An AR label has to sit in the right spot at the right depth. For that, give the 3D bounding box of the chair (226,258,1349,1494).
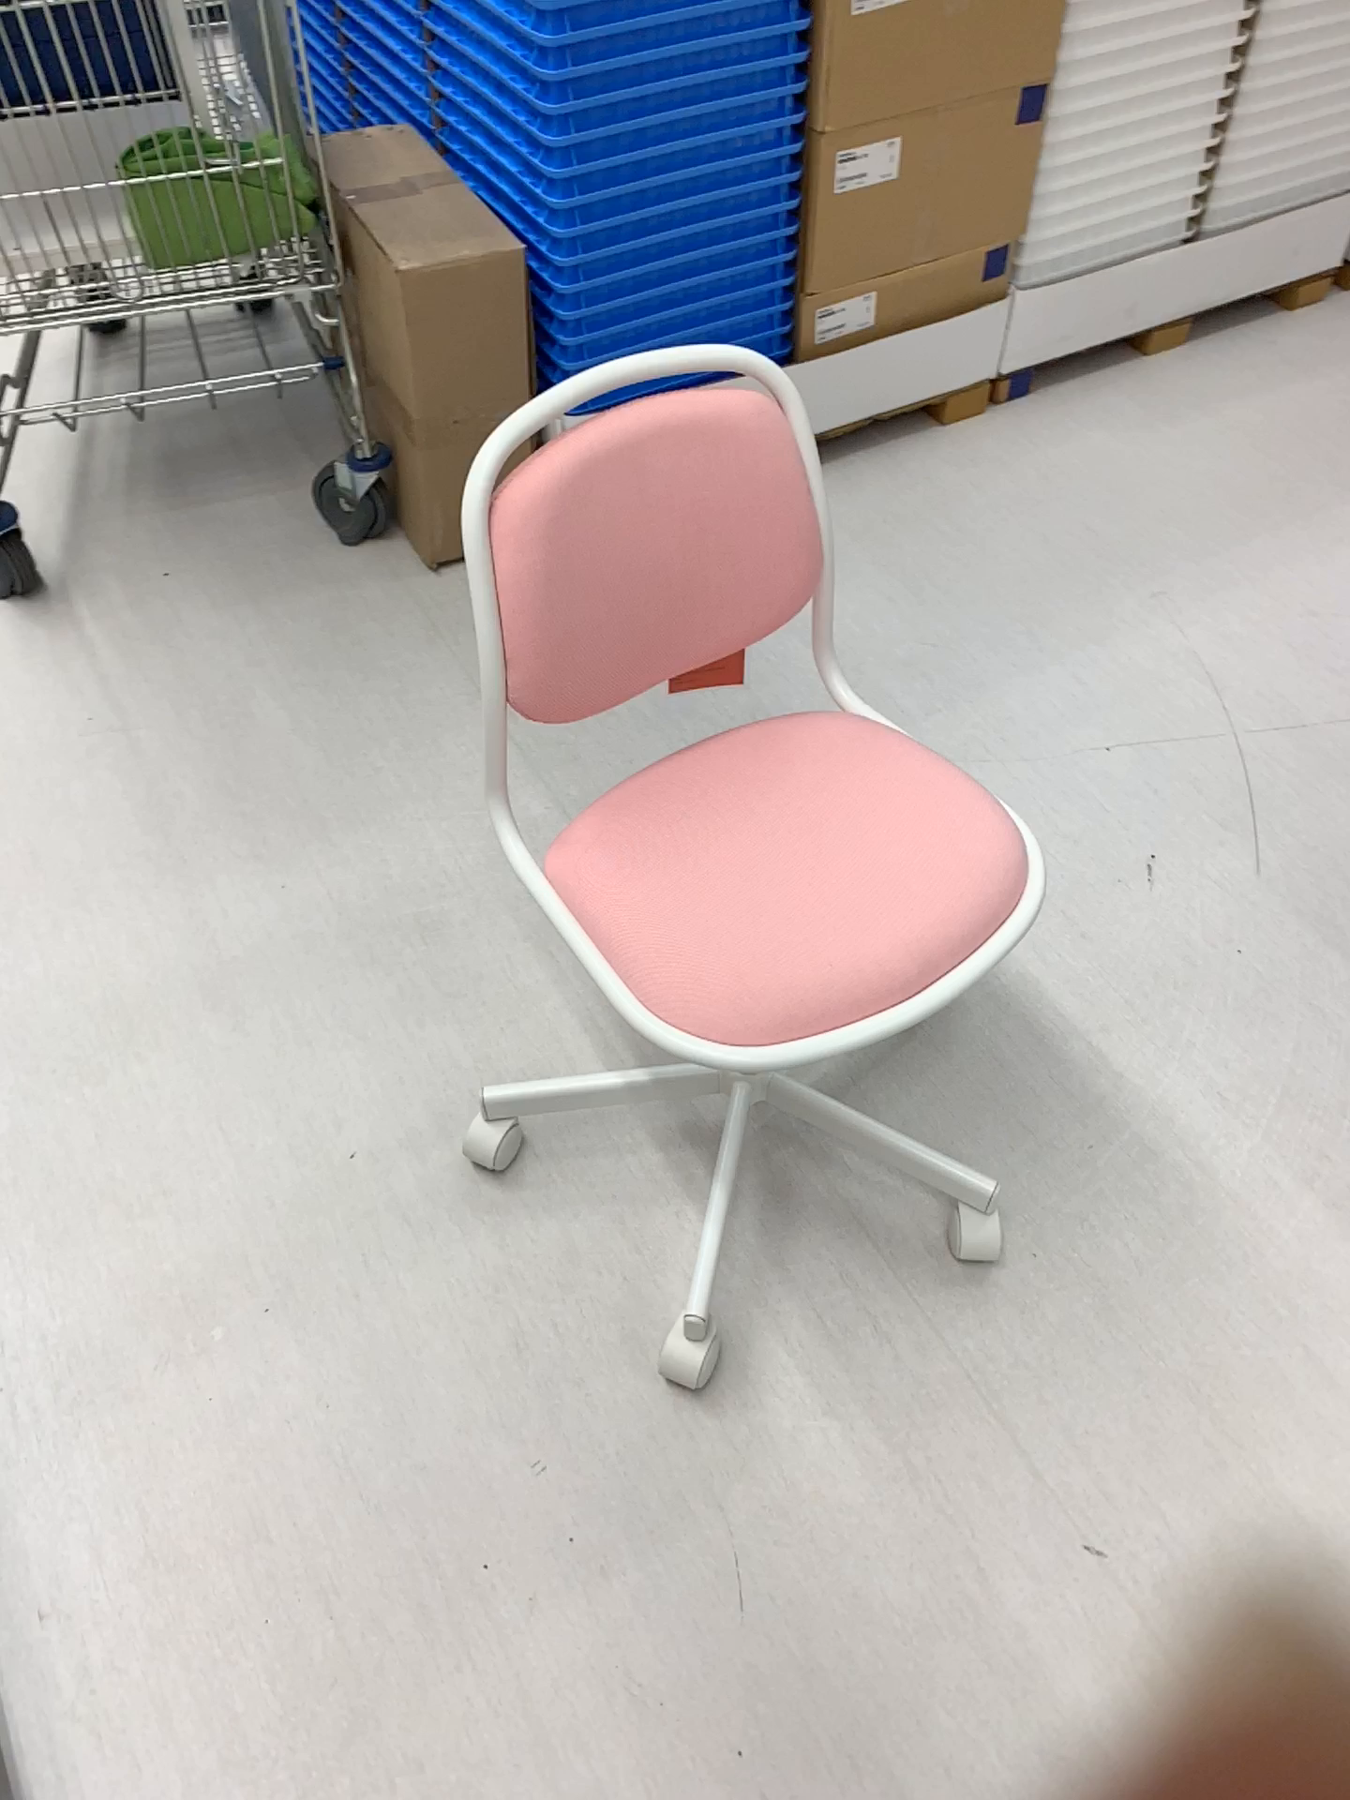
[{"bbox_3d":[0.078,-0.012,1.139,0.560,0.698,0.531,-25,53,-20],"label":"chair"}]
